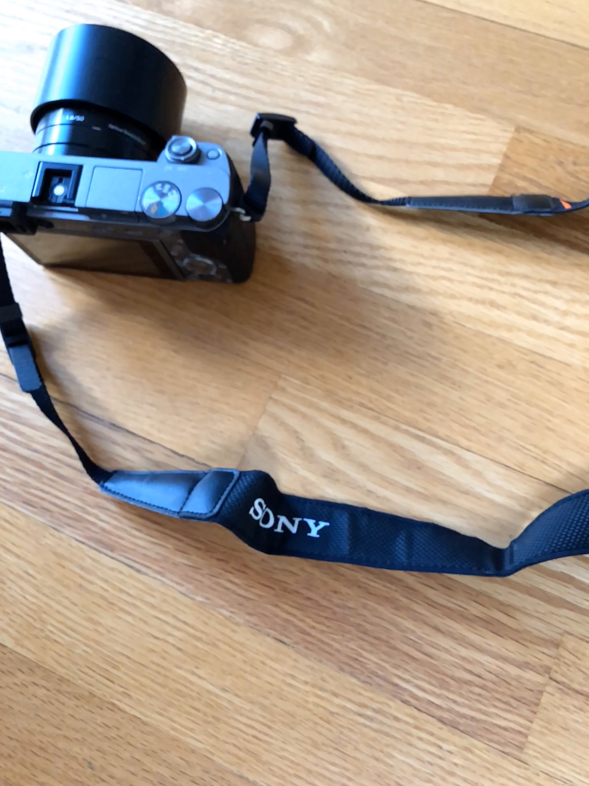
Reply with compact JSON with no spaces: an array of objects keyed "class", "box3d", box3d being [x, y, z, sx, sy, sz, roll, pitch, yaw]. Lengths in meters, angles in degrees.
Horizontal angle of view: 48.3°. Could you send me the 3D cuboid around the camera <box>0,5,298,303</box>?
[{"class":"camera","box3d":[-0.076,-0.115,0.328,0.136,0.079,0.107,6,78,7]}]
